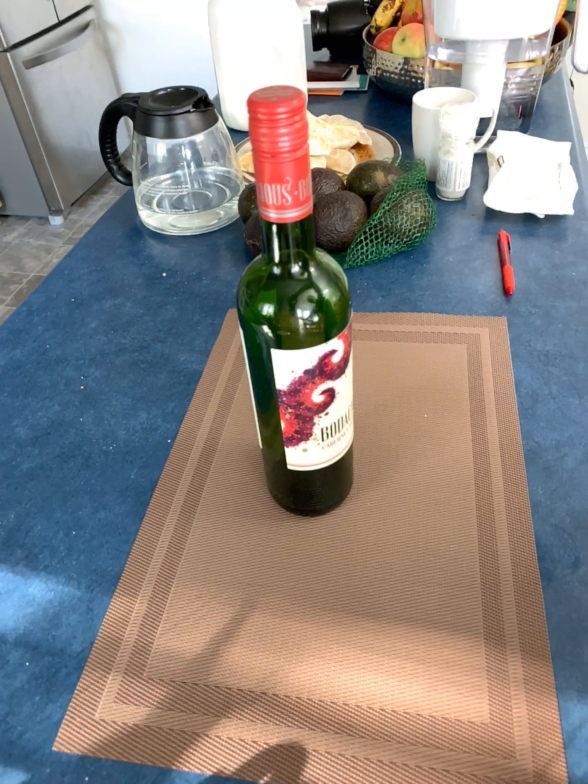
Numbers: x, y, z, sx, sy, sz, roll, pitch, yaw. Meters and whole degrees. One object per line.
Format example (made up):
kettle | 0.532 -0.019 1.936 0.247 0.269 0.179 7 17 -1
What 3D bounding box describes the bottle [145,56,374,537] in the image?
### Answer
bottle | -0.003 -0.036 0.382 0.080 0.297 0.081 -3 44 3
